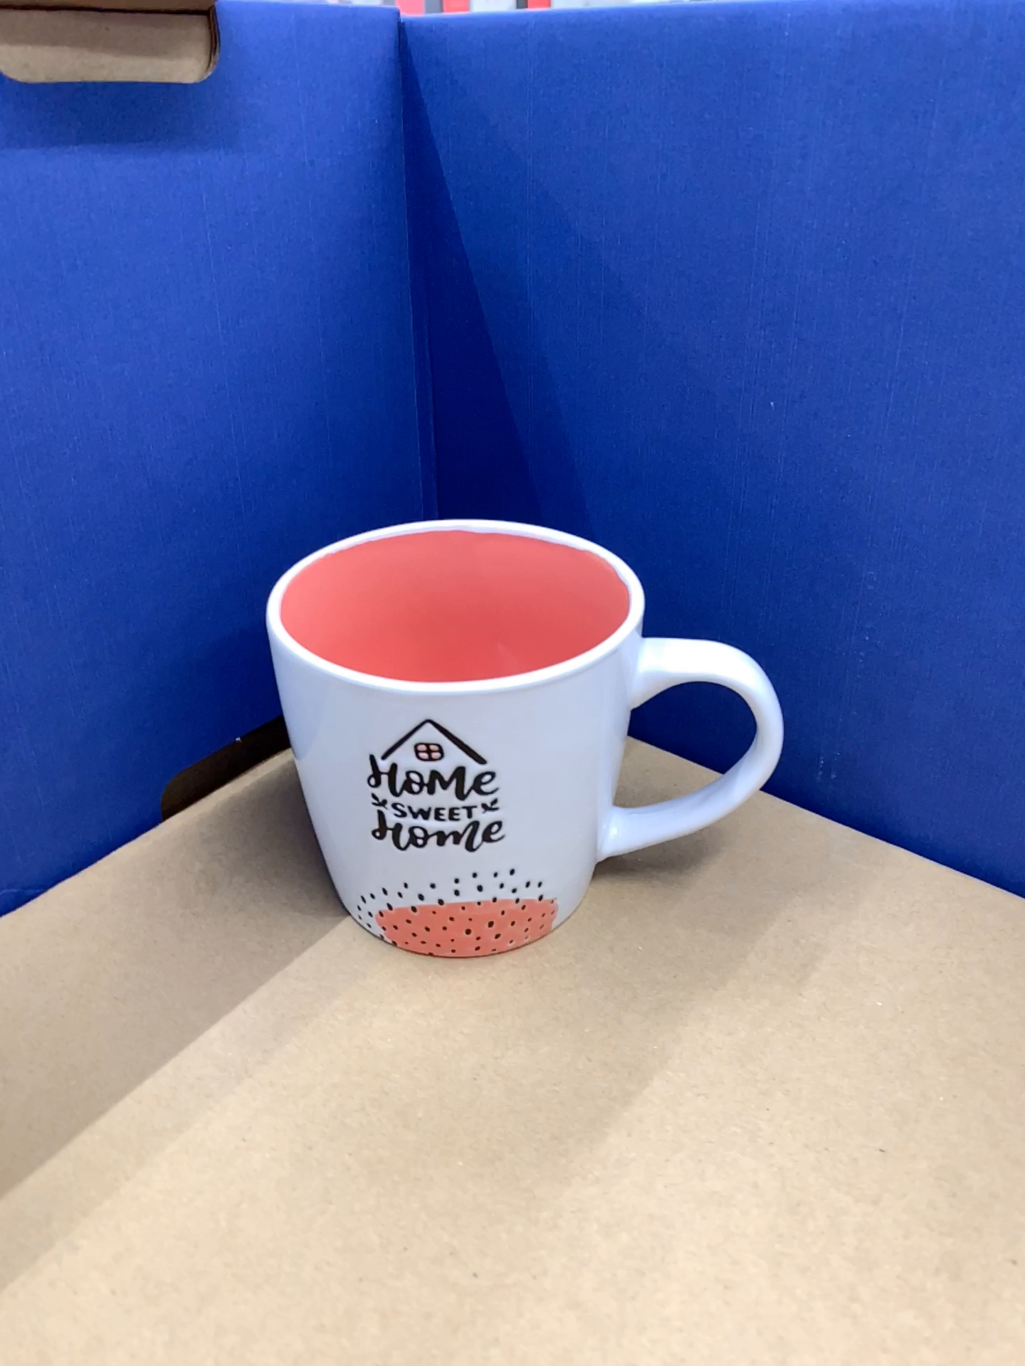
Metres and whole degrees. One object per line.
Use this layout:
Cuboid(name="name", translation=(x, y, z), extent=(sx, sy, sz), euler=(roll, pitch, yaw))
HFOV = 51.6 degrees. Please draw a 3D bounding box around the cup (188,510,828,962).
Cuboid(name="cup", translation=(0.000, 0.008, 0.244), extent=(0.115, 0.070, 0.083), euler=(0, 29, 1))
